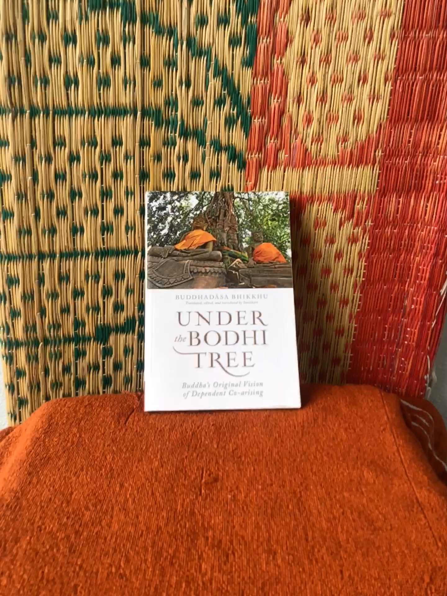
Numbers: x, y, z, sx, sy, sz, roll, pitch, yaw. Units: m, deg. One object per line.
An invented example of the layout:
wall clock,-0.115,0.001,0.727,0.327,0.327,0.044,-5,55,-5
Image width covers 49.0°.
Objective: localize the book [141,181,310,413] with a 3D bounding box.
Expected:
book,-0.001,-0.005,0.499,0.160,0.231,0.030,-1,-11,-3
